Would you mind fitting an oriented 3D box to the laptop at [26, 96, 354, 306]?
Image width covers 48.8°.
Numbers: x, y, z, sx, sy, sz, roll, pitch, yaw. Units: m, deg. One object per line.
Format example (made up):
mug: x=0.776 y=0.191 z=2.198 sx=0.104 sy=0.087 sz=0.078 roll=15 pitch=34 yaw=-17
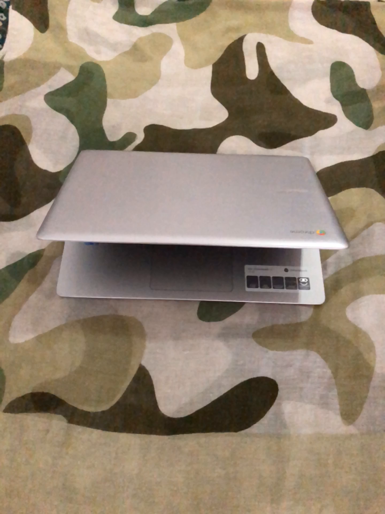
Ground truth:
laptop: x=-0.003 y=-0.071 z=0.522 sx=0.311 sy=0.125 sz=0.233 roll=2 pitch=59 yaw=0
